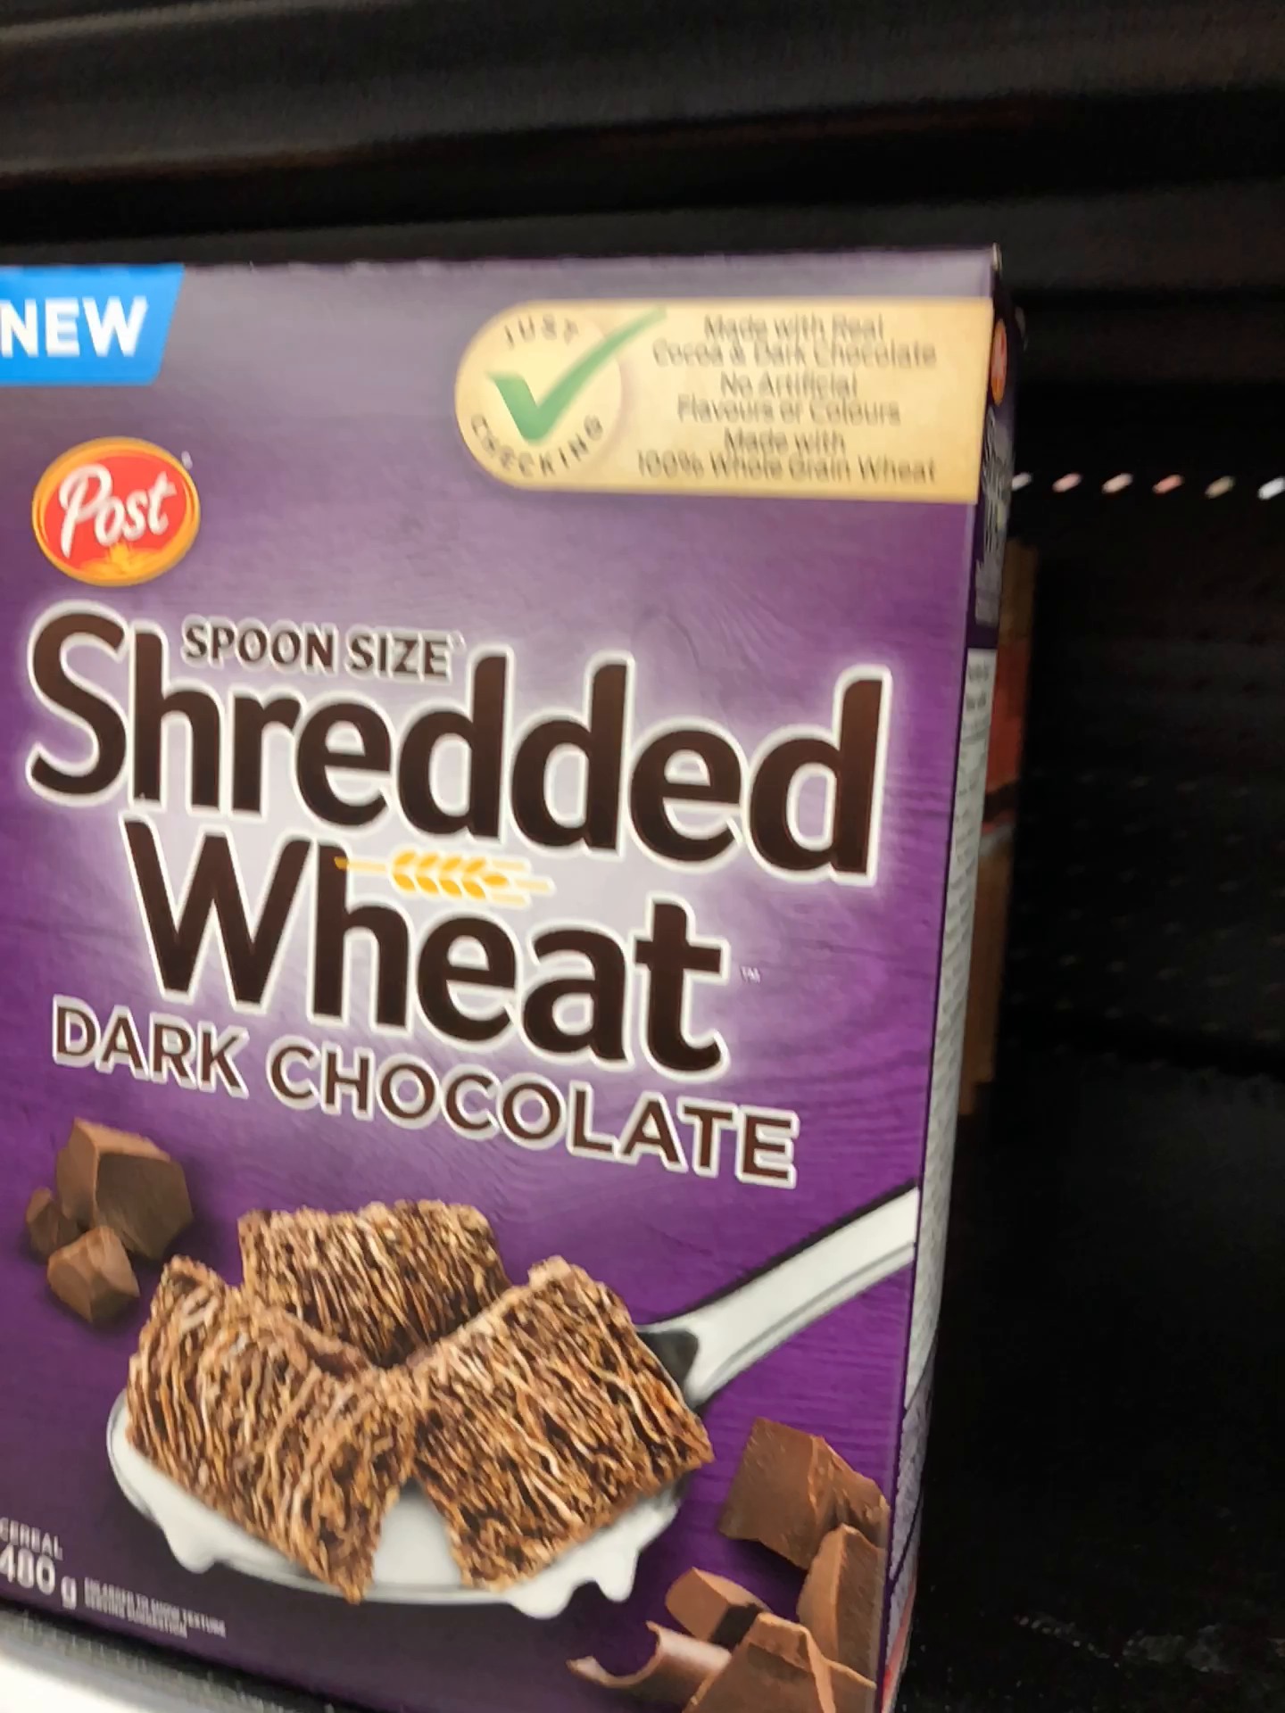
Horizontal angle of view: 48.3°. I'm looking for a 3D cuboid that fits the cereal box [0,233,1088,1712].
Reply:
[{"bbox_3d":[-0.030,0.031,0.280,0.200,0.269,0.060,6,9,17],"label":"cereal box"}]
